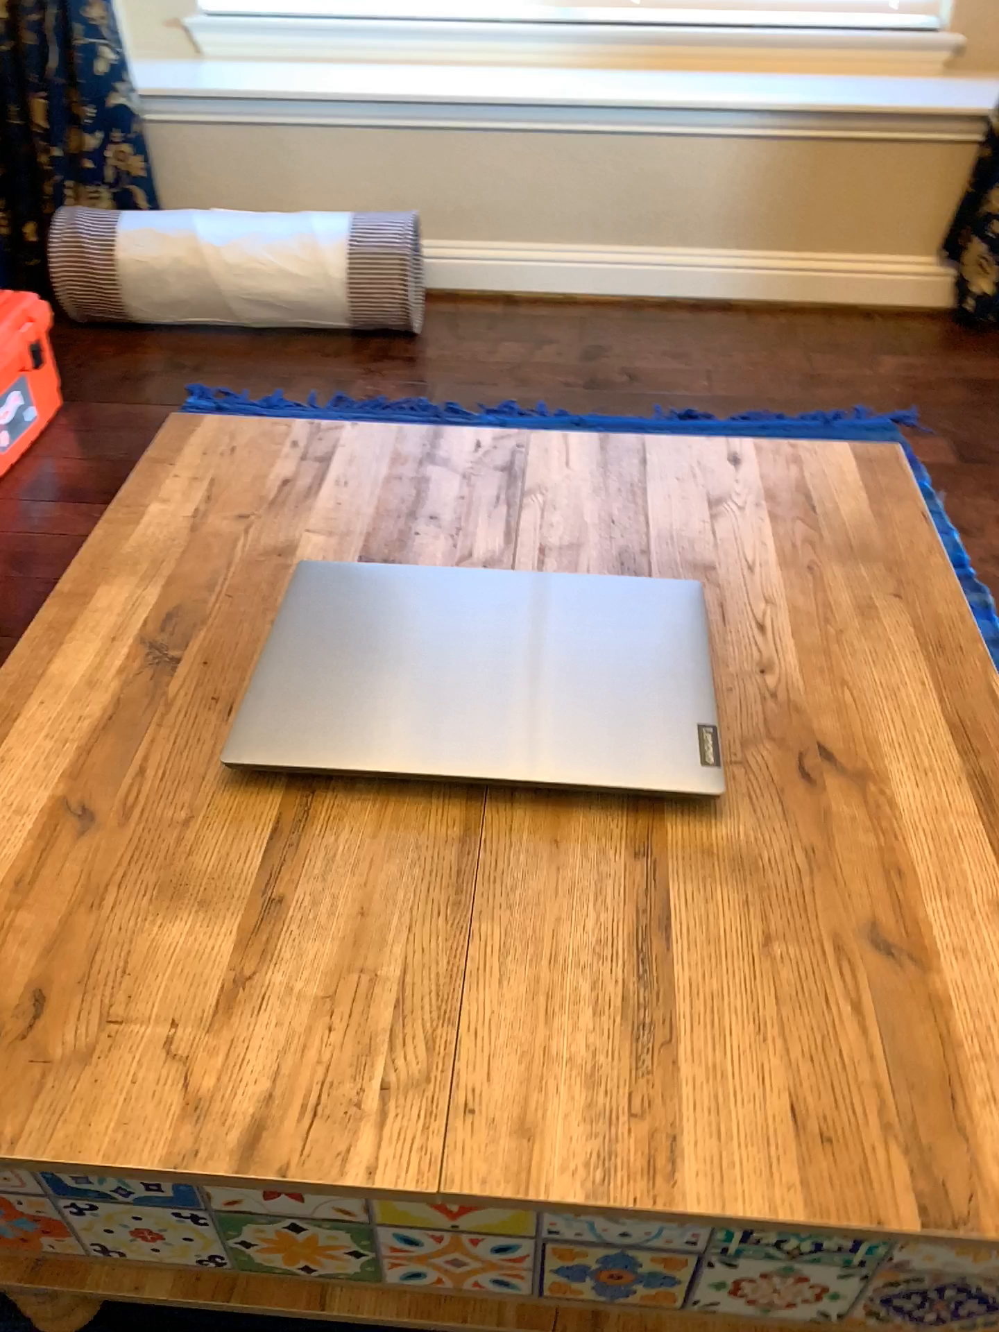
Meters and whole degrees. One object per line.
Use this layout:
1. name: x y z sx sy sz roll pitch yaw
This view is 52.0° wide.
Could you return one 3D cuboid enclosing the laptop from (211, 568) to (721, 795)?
1. laptop: -0.016 0.000 0.787 0.347 0.011 0.238 2 39 4
